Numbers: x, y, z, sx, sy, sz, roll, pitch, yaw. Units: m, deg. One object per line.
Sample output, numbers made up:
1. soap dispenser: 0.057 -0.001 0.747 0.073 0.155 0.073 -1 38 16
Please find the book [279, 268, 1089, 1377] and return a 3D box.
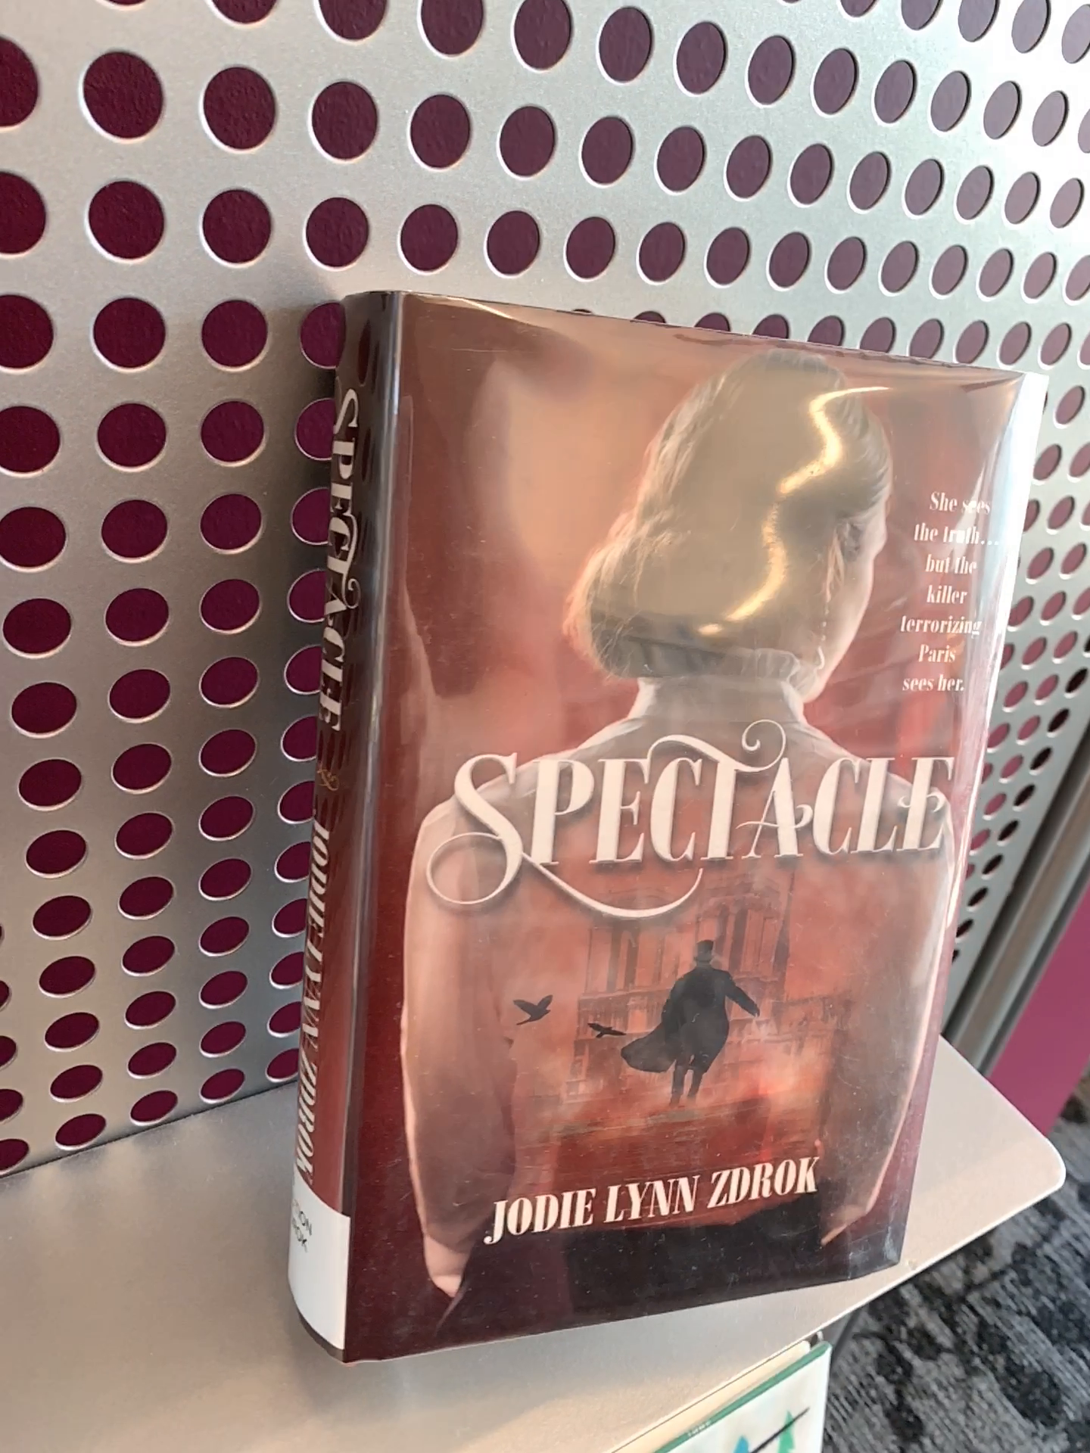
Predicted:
1. book: 0.021 0.021 0.255 0.153 0.212 0.059 -1 14 -17
